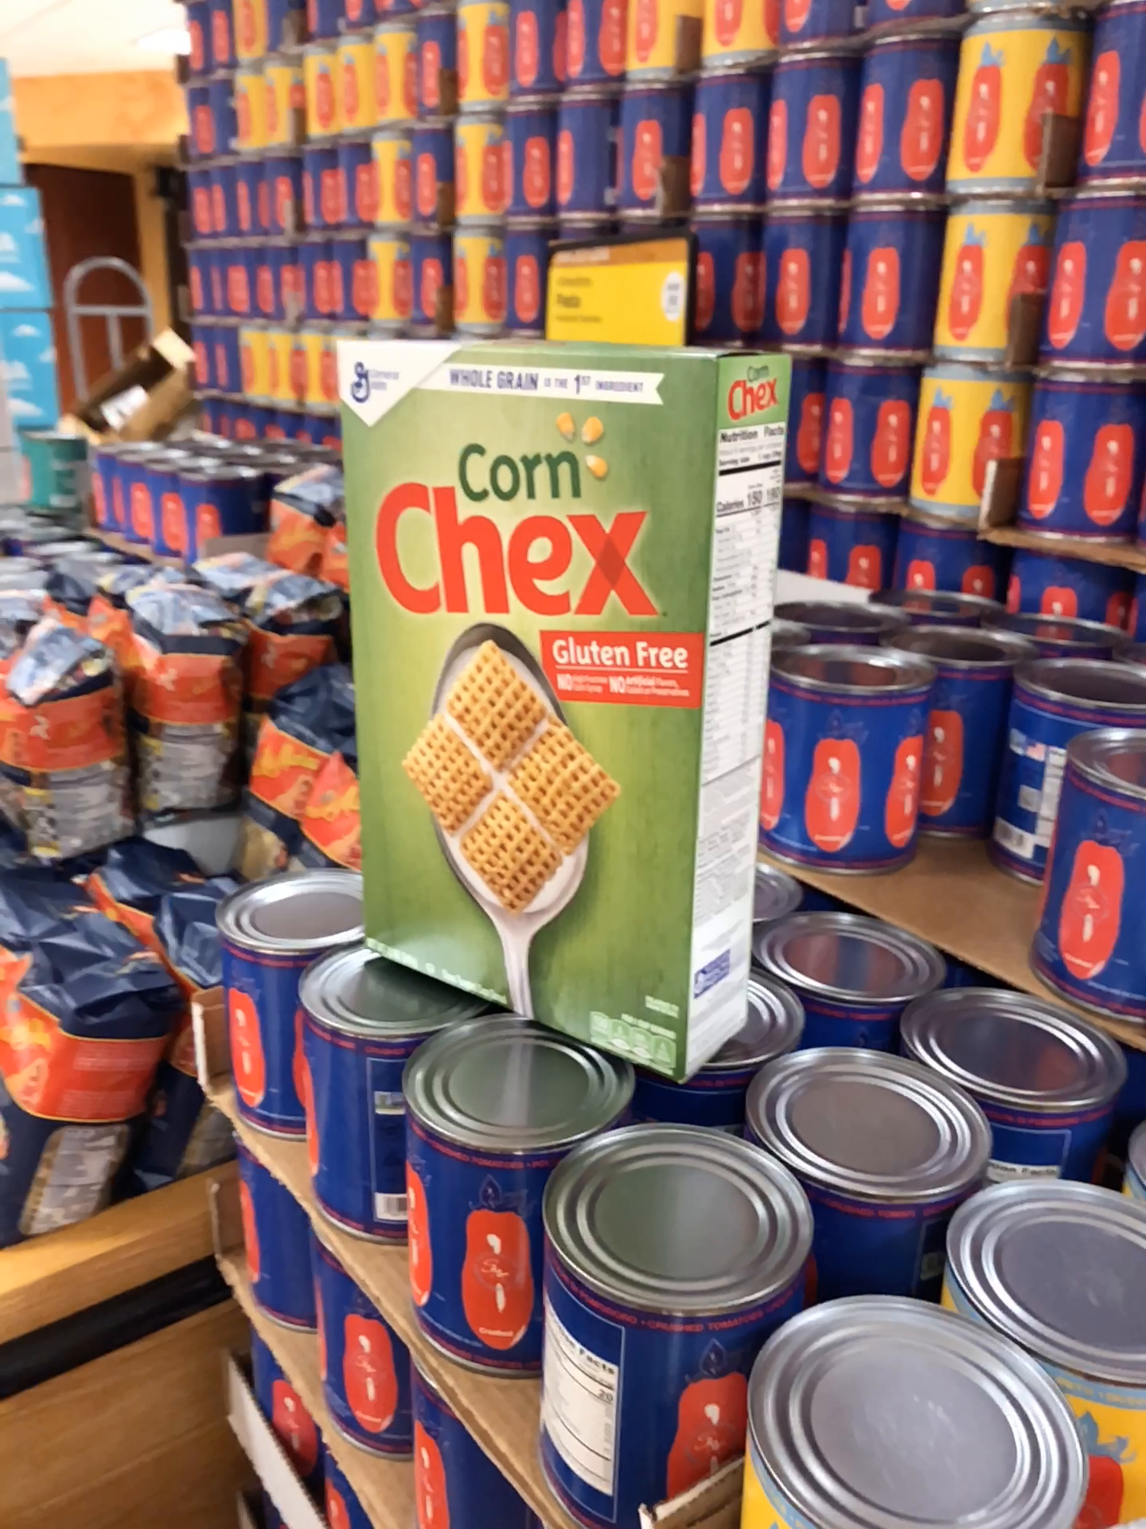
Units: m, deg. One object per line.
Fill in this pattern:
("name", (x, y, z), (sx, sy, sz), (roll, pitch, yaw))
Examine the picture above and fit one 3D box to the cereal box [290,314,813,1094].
("cereal box", (-0.020, -0.038, 0.556), (0.220, 0.298, 0.060), (15, 23, 35))
